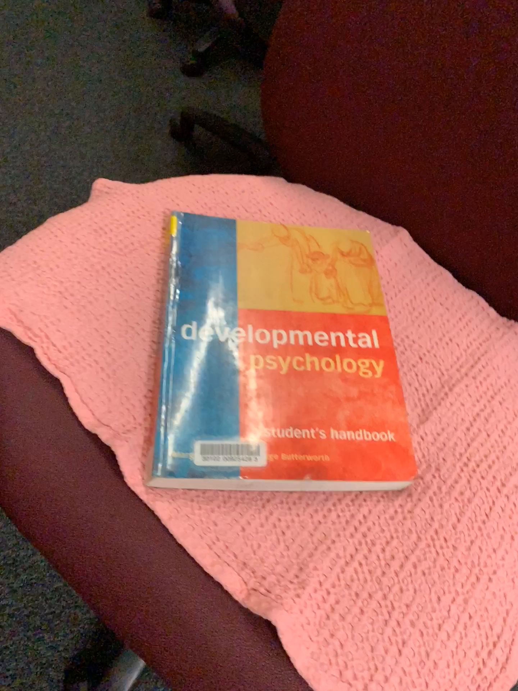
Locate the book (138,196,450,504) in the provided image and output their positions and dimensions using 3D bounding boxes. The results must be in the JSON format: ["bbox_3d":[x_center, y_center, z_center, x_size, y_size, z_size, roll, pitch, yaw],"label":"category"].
[{"bbox_3d":[0.018,-0.007,0.438,0.210,0.040,0.262,4,55,-11],"label":"book"}]
